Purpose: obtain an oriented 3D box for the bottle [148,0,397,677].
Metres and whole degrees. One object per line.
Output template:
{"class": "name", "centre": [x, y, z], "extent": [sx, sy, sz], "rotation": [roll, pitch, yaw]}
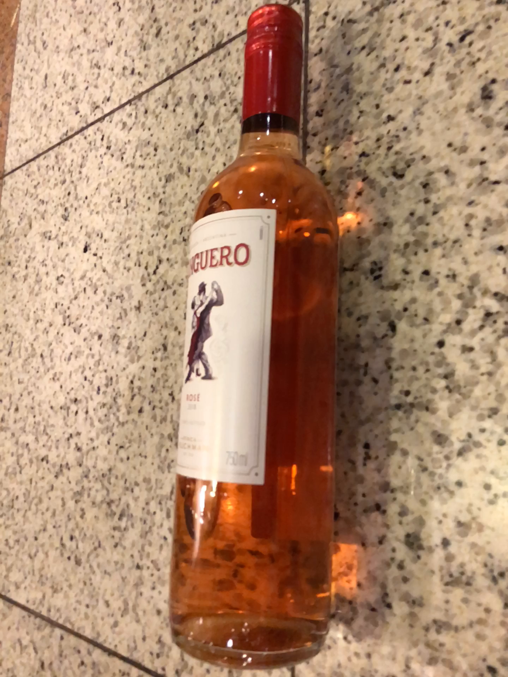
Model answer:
{"class": "bottle", "centre": [0.012, -0.032, 0.266], "extent": [0.090, 0.060, 0.320], "rotation": [-6, 78, 43]}
